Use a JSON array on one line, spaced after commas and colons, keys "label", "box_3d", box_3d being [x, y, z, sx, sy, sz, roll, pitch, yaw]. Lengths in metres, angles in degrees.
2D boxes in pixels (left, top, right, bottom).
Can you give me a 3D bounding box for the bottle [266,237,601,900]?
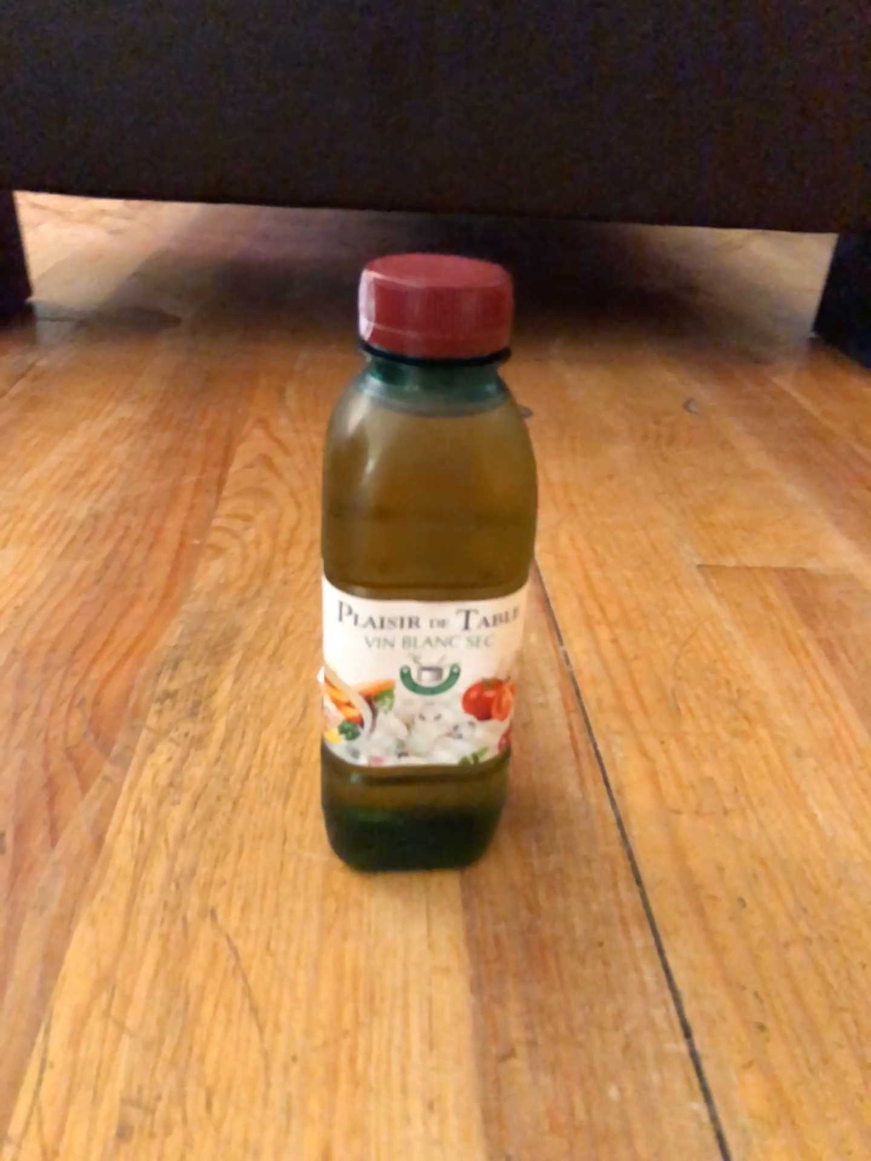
[{"label": "bottle", "box_3d": [-0.006, 0.002, 0.228, 0.060, 0.149, 0.050, 1, 28, -6]}]
